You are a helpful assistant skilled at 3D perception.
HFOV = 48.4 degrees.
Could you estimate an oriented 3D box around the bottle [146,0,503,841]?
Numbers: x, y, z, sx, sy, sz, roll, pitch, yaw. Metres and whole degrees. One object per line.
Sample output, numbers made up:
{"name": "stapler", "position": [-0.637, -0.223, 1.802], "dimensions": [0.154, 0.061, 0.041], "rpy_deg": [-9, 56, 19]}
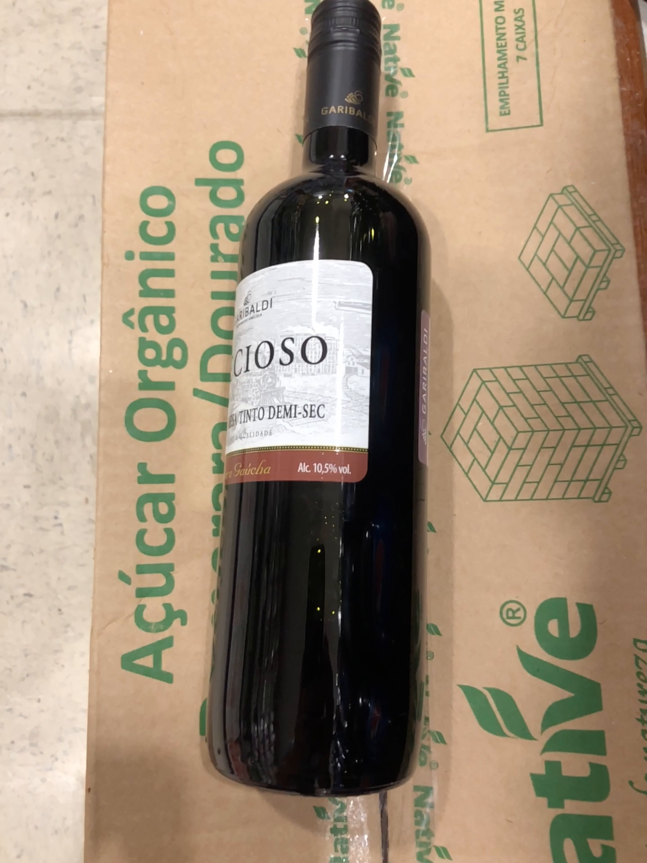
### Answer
{"name": "bottle", "position": [0.007, -0.057, 0.255], "dimensions": [0.090, 0.080, 0.340], "rpy_deg": [3, 78, -1]}
